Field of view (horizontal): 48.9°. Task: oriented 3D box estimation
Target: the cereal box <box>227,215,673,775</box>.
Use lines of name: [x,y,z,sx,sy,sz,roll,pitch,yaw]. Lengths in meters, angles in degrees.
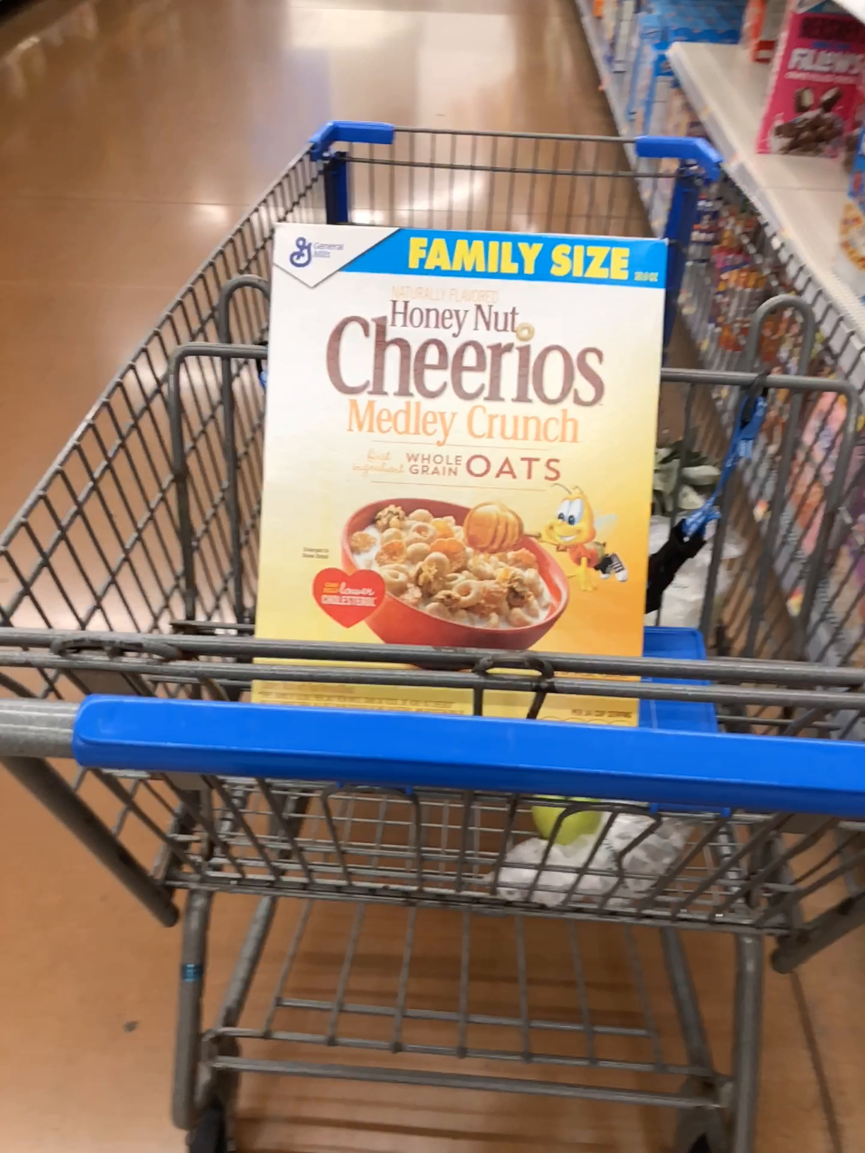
cereal box: [0.010,-0.048,0.595,0.250,0.320,0.070,2,0,1]
